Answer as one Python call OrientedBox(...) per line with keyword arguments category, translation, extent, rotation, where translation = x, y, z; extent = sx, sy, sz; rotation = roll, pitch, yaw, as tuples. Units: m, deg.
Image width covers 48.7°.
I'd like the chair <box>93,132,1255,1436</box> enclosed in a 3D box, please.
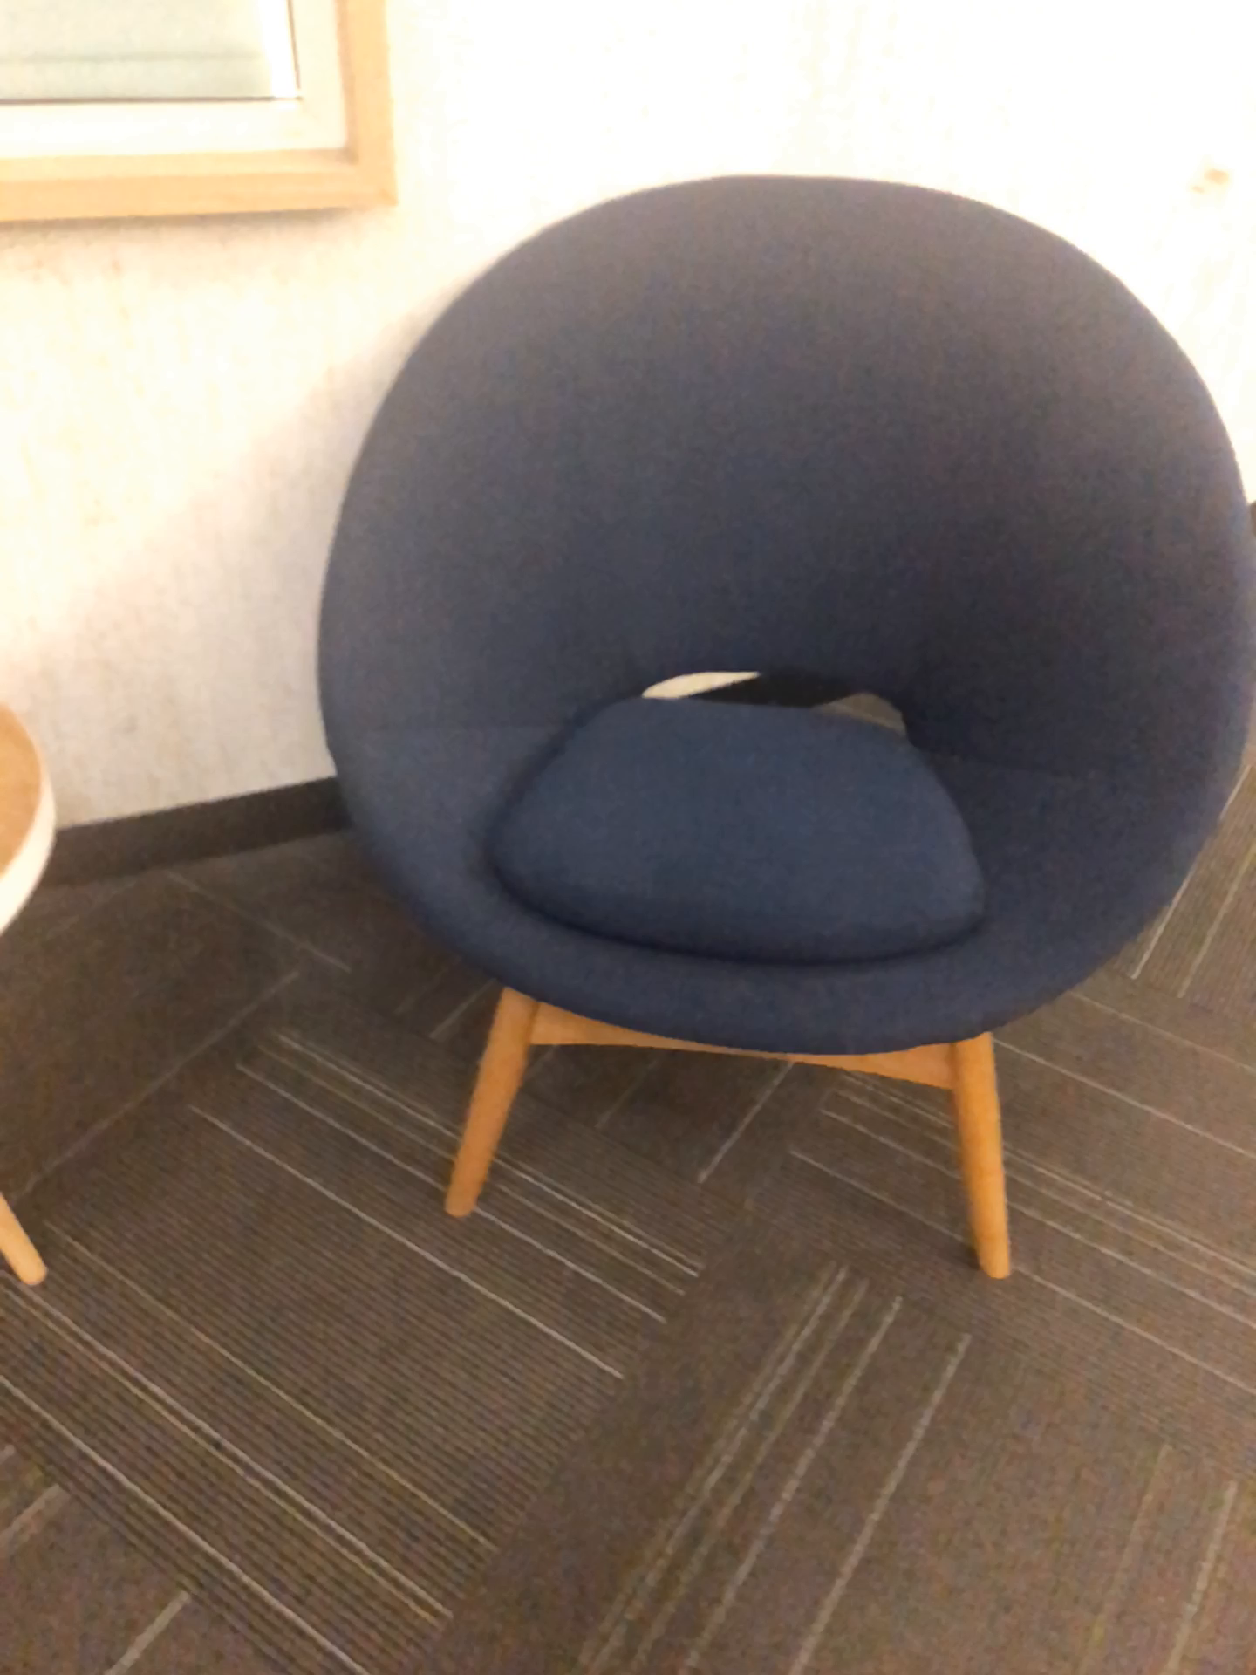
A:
OrientedBox(category="chair", translation=(0.150, -0.175, 1.559), extent=(0.890, 0.992, 1.009), rotation=(8, 31, 9))
